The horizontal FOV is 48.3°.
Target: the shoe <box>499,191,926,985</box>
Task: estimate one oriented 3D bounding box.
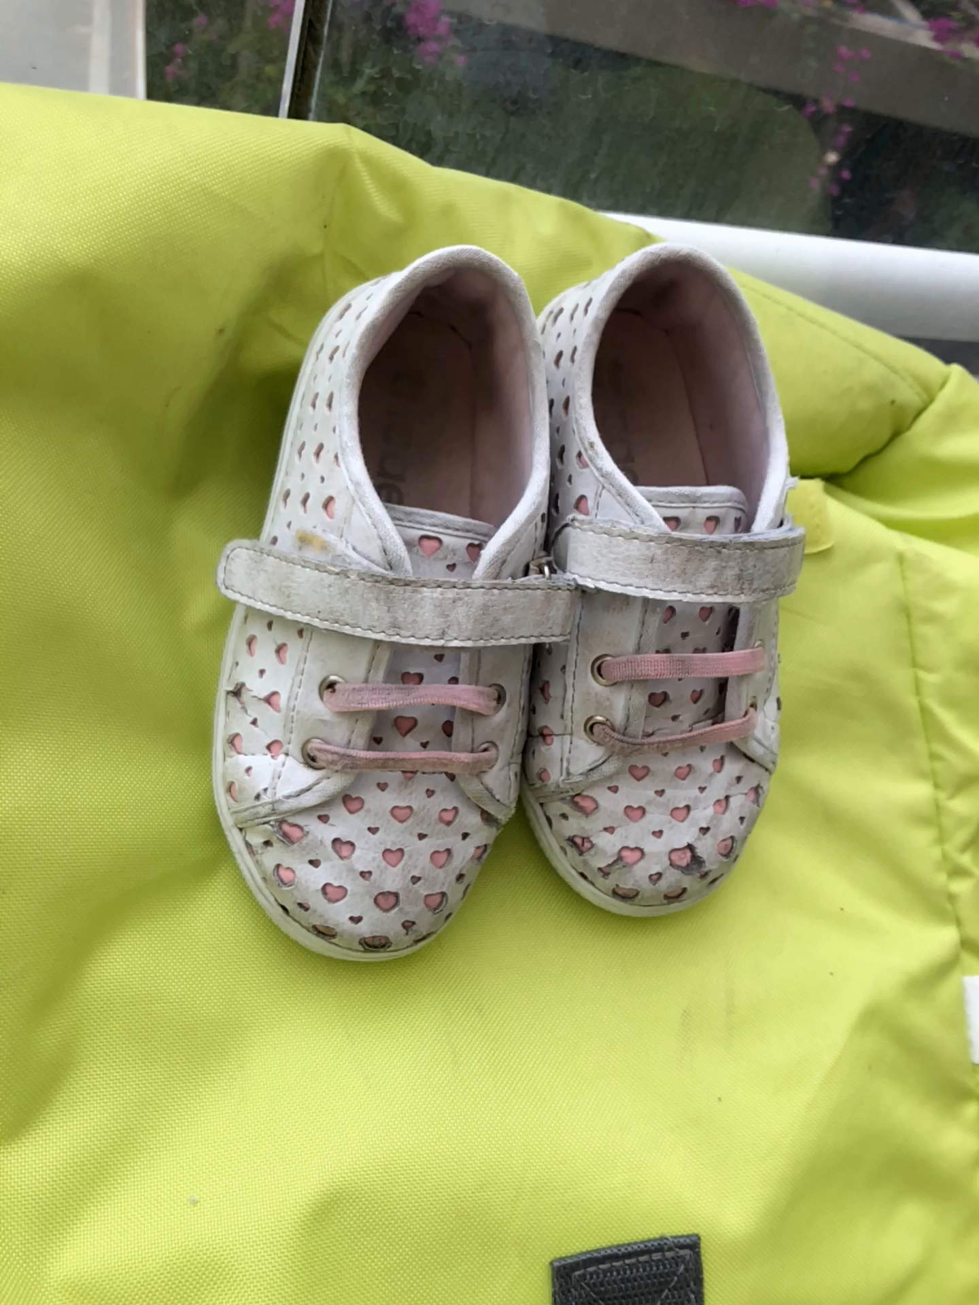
[{"bbox_3d":[0.055,-0.016,0.283,0.081,0.060,0.176,-2,88,-22],"label":"shoe"}]

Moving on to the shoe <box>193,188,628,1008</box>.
[{"bbox_3d":[-0.023,-0.009,0.273,0.080,0.060,0.176,6,90,-17],"label":"shoe"}]
